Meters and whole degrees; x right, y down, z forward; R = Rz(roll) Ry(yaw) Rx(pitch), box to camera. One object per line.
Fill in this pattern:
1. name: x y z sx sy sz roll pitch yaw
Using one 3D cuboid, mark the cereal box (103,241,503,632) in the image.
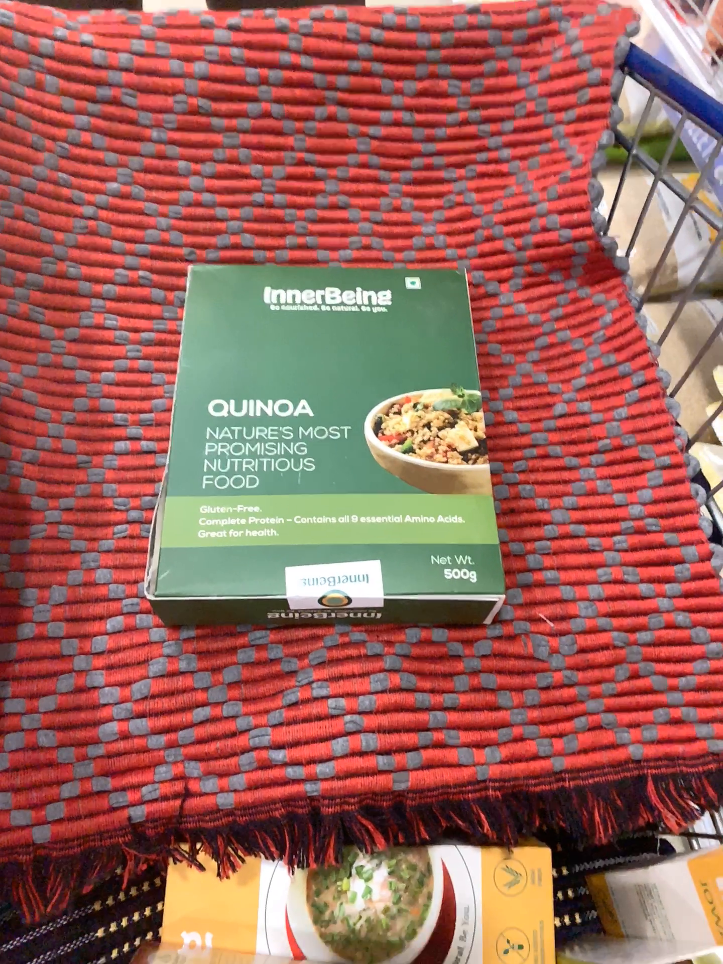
1. cereal box: -0.024 -0.027 0.339 0.150 0.040 0.180 -1 63 -1
